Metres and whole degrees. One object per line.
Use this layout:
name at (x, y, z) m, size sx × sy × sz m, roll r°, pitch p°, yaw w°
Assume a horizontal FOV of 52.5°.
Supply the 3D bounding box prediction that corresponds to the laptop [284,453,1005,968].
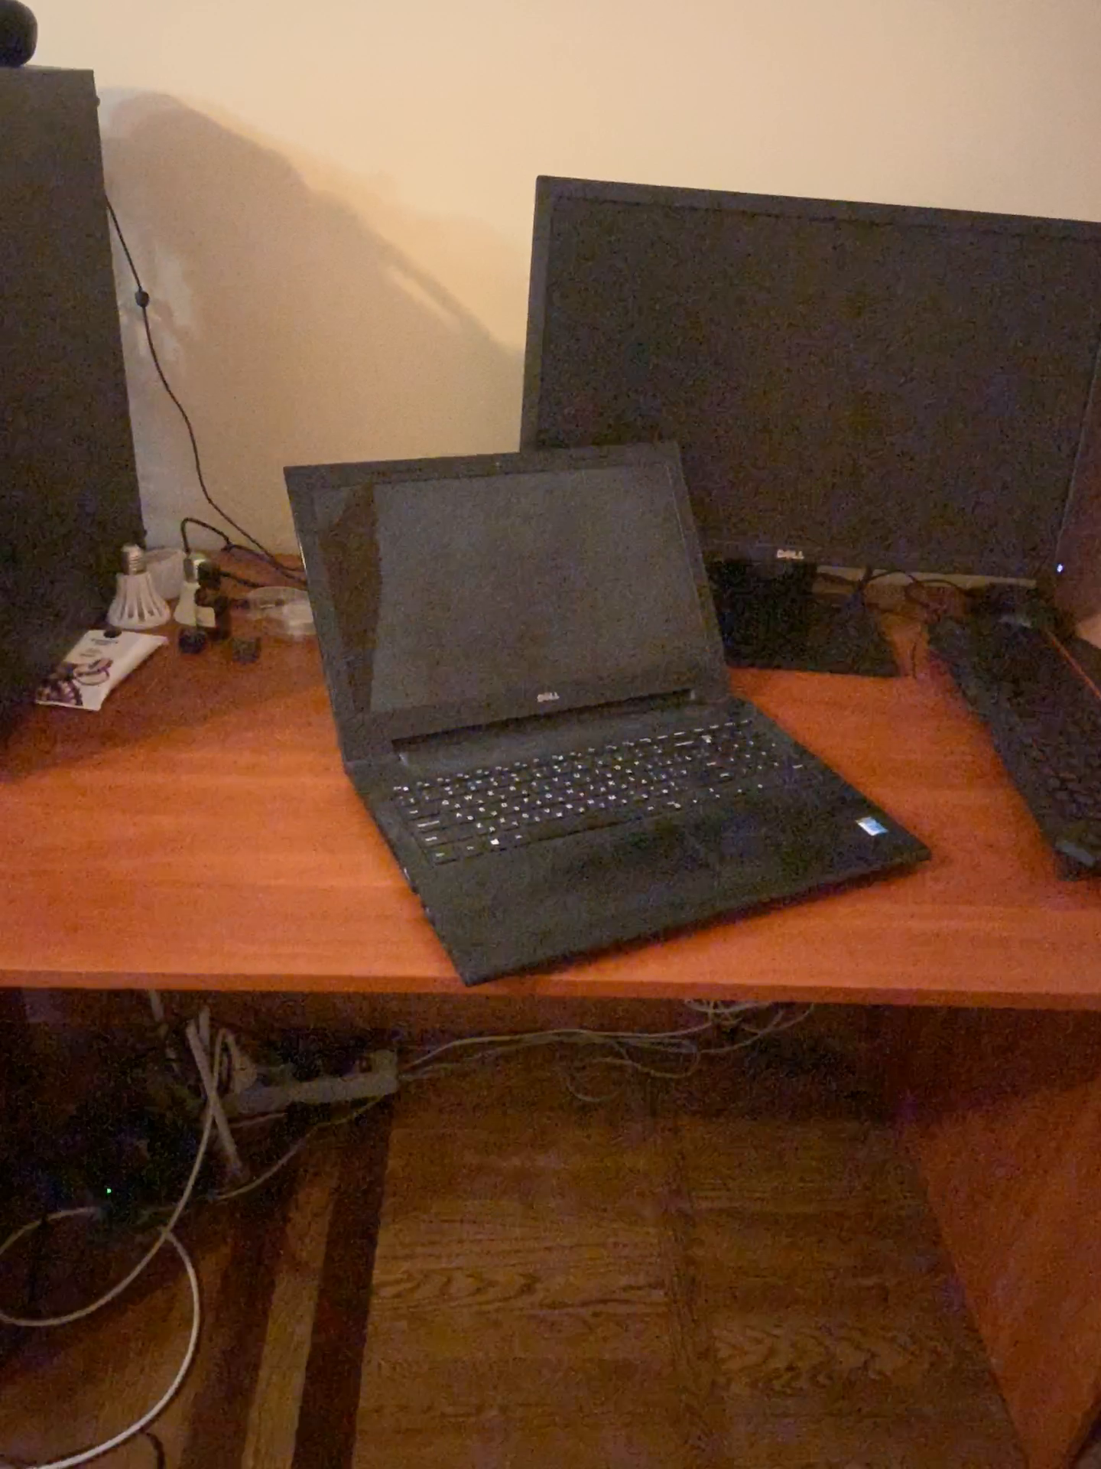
laptop at (0.032, -0.059, 0.825) m, size 0.356 × 0.181 × 0.394 m, roll -9°, pitch 32°, yaw -24°
